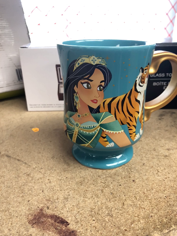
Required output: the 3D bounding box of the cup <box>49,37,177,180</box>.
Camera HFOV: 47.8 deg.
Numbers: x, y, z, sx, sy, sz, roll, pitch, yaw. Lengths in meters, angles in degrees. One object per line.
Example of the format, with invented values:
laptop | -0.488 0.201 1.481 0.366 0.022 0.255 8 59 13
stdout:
cup | 0.035 -0.022 0.226 0.140 0.120 0.099 -7 25 -11
